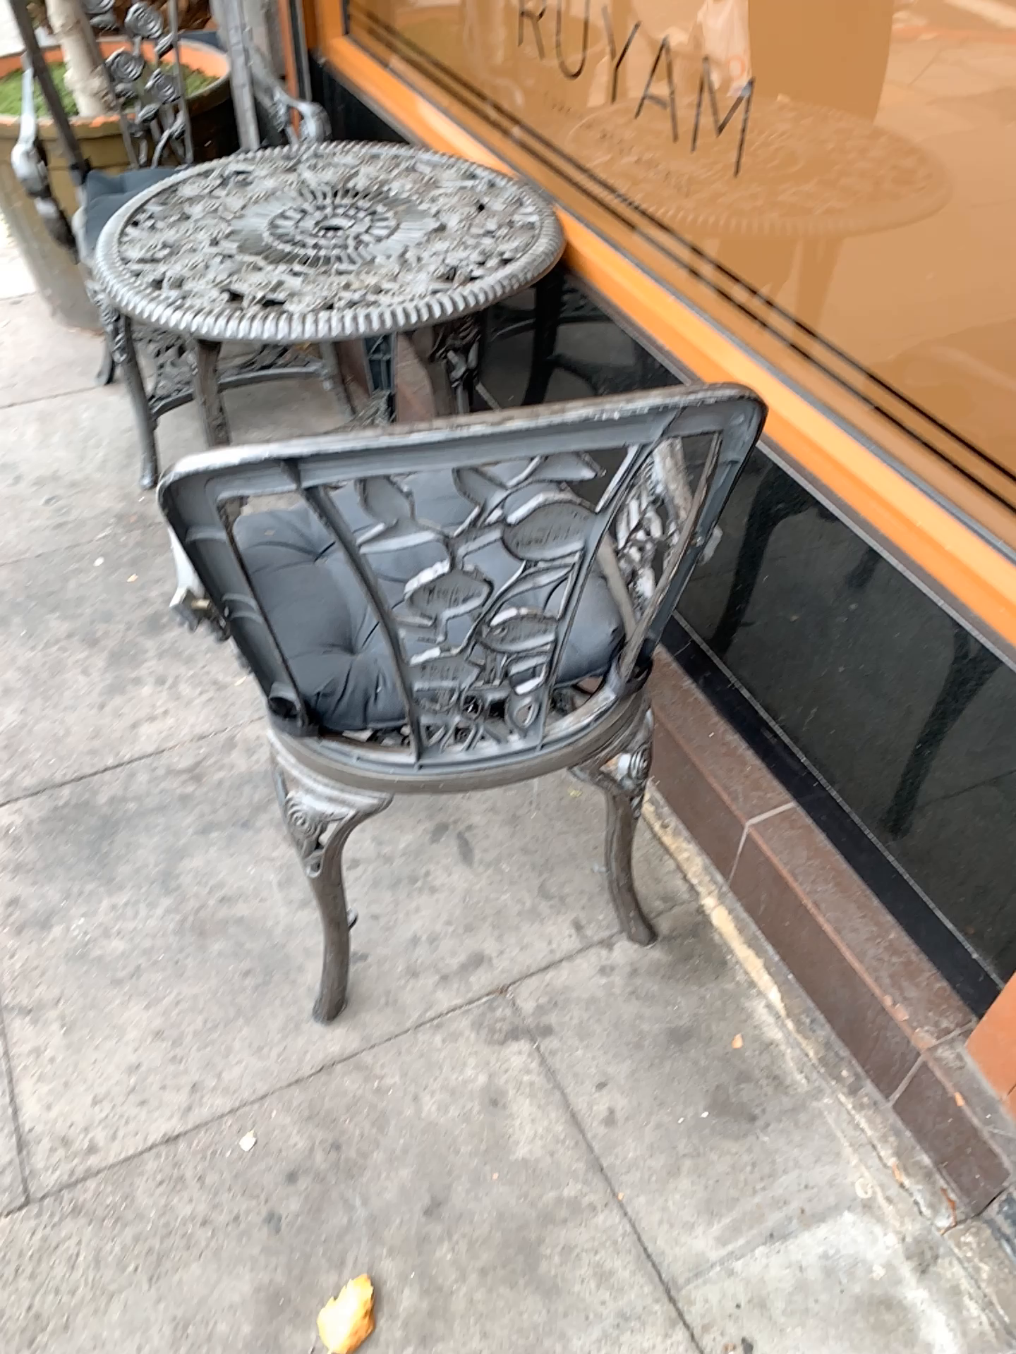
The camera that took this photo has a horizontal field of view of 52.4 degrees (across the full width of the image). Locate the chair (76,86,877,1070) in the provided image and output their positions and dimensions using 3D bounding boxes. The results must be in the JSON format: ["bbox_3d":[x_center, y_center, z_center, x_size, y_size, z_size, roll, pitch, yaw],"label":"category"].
[{"bbox_3d":[-0.086,-0.062,1.132,0.491,0.852,0.555,-12,51,-13],"label":"chair"}]
